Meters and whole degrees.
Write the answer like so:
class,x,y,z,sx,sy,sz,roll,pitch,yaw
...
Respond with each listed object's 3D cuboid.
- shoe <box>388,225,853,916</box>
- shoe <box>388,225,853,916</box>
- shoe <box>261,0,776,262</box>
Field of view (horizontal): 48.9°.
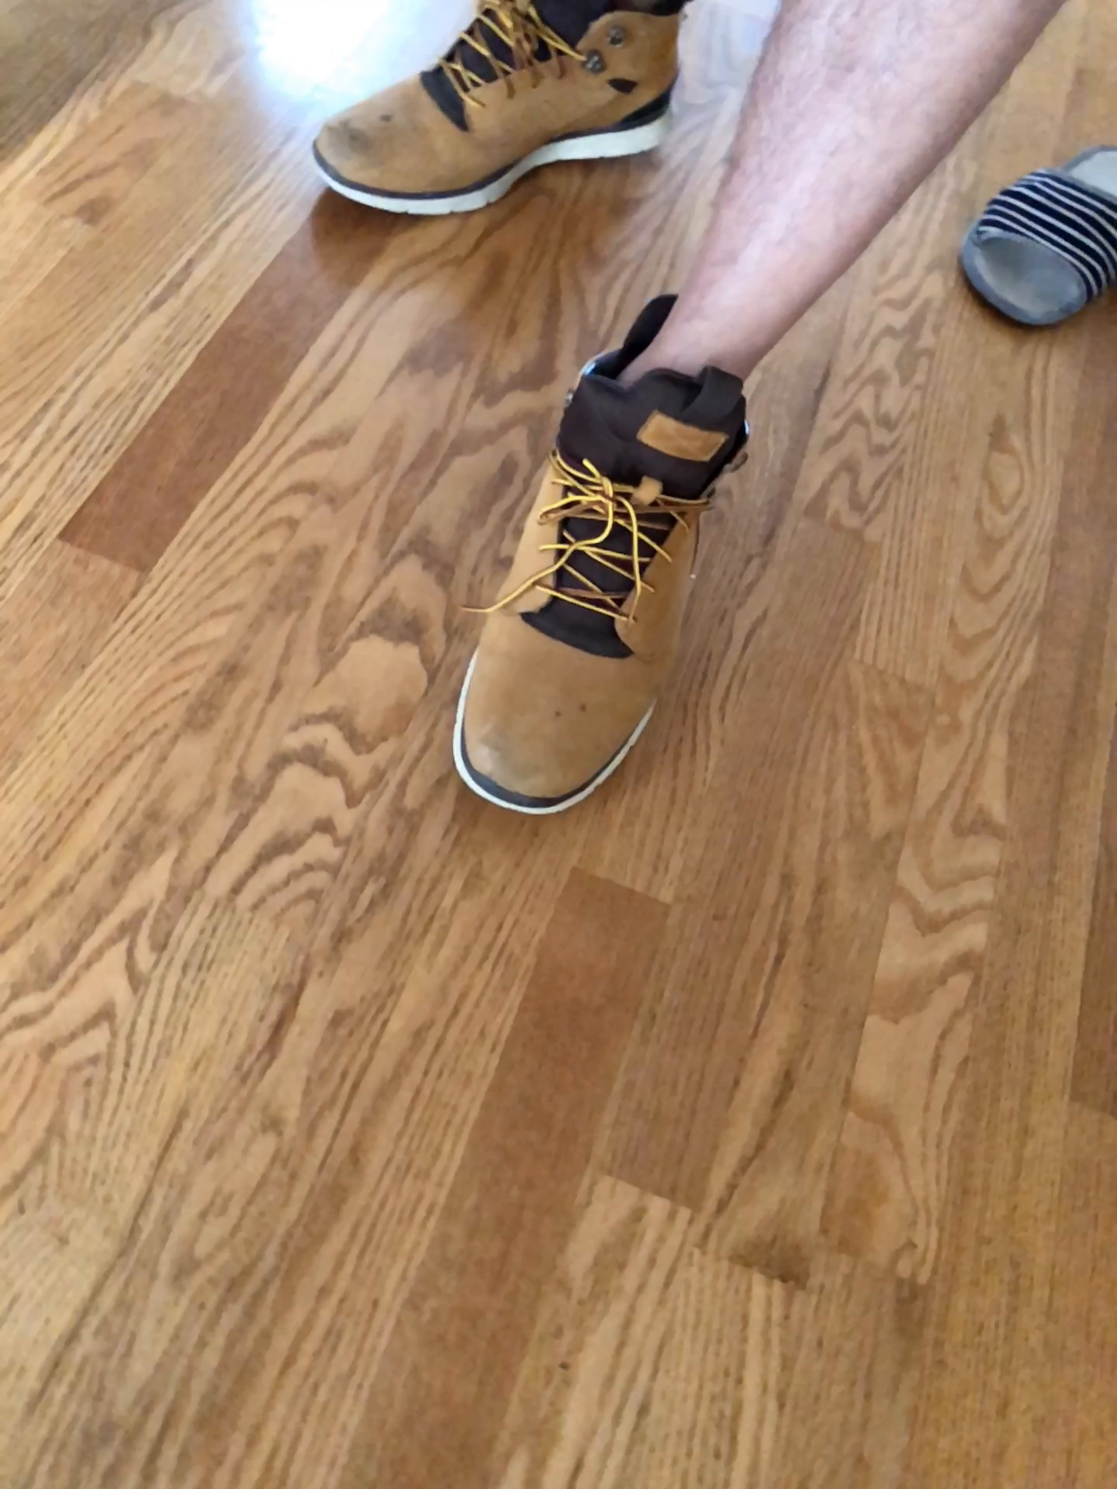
class,x,y,z,sx,sy,sz,roll,pitch,yaw
shoe,0.036,-0.096,0.631,0.130,0.139,0.311,21,58,0
shoe,0.036,-0.096,0.631,0.130,0.139,0.311,21,58,0
shoe,-0.030,-0.496,0.872,0.331,0.159,0.130,-31,71,-26
